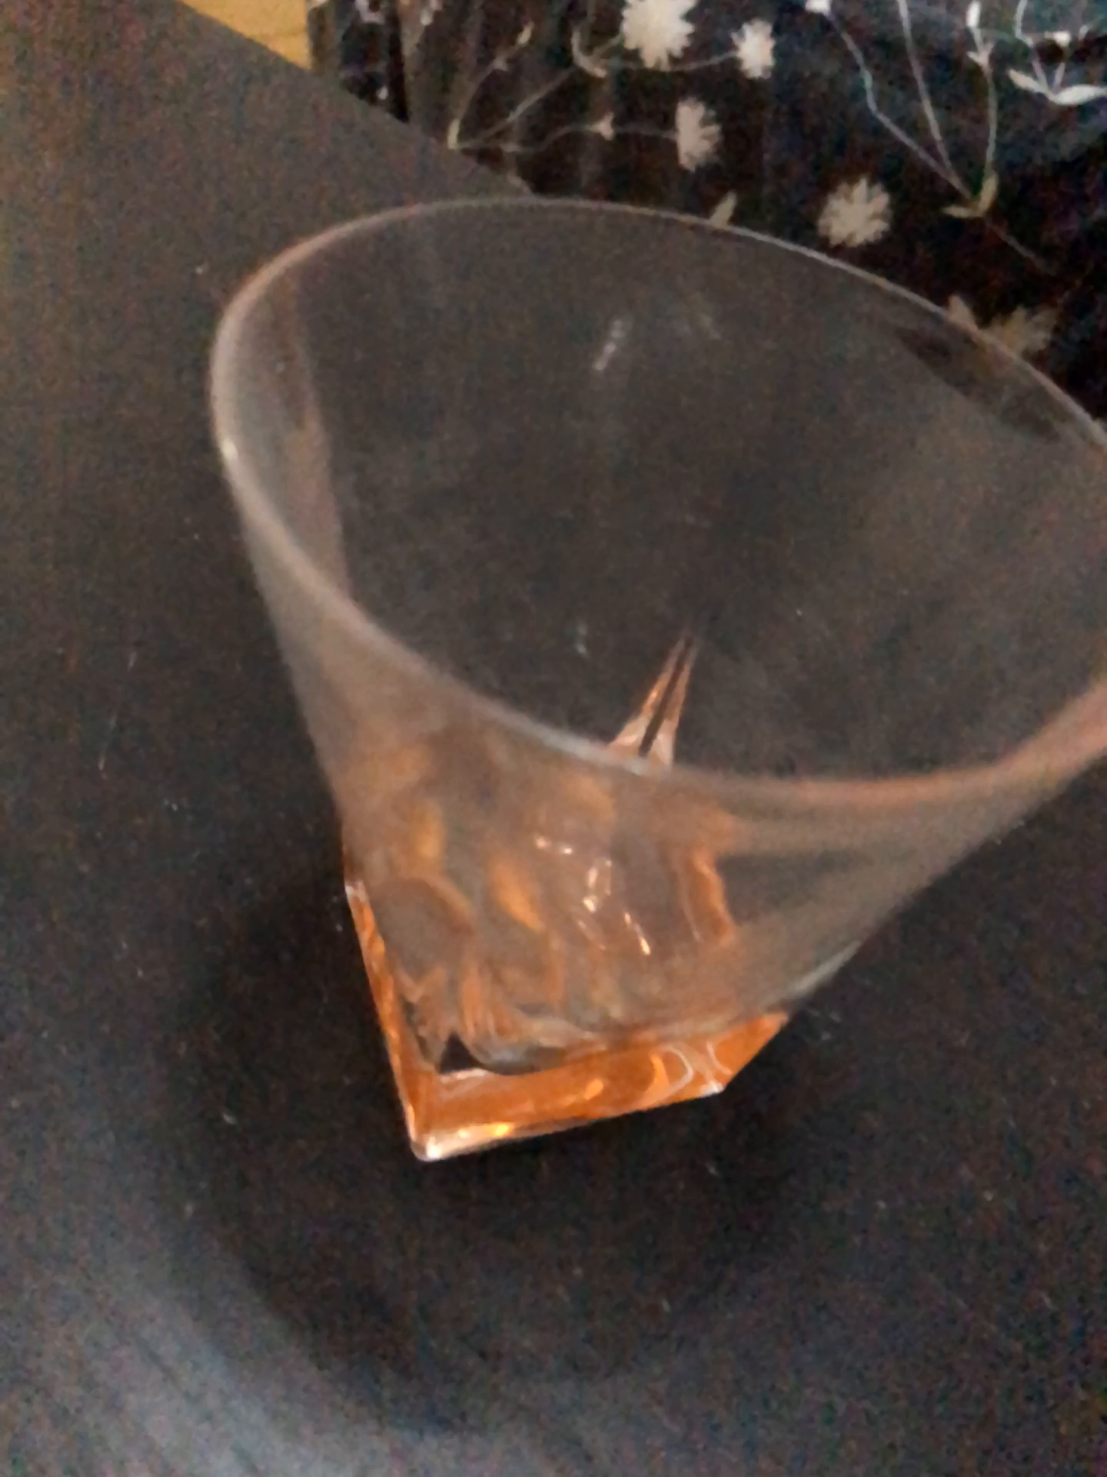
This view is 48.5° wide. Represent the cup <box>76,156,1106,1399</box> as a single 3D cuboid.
[{"bbox_3d":[0.001,0.002,0.164,0.110,0.099,0.111,8,44,-8],"label":"cup"}]
